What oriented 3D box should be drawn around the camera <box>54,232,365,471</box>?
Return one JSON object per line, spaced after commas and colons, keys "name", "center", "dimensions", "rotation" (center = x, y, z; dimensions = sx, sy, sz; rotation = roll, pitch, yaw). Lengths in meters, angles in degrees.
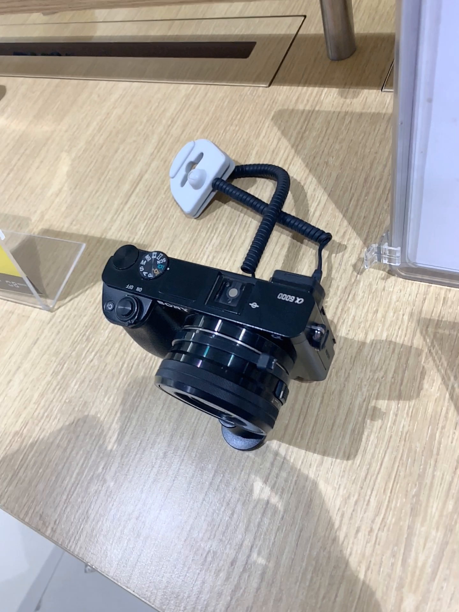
{"name": "camera", "center": [-0.004, 0.024, 0.257], "dimensions": [0.130, 0.090, 0.070], "rotation": [14, 68, 26]}
